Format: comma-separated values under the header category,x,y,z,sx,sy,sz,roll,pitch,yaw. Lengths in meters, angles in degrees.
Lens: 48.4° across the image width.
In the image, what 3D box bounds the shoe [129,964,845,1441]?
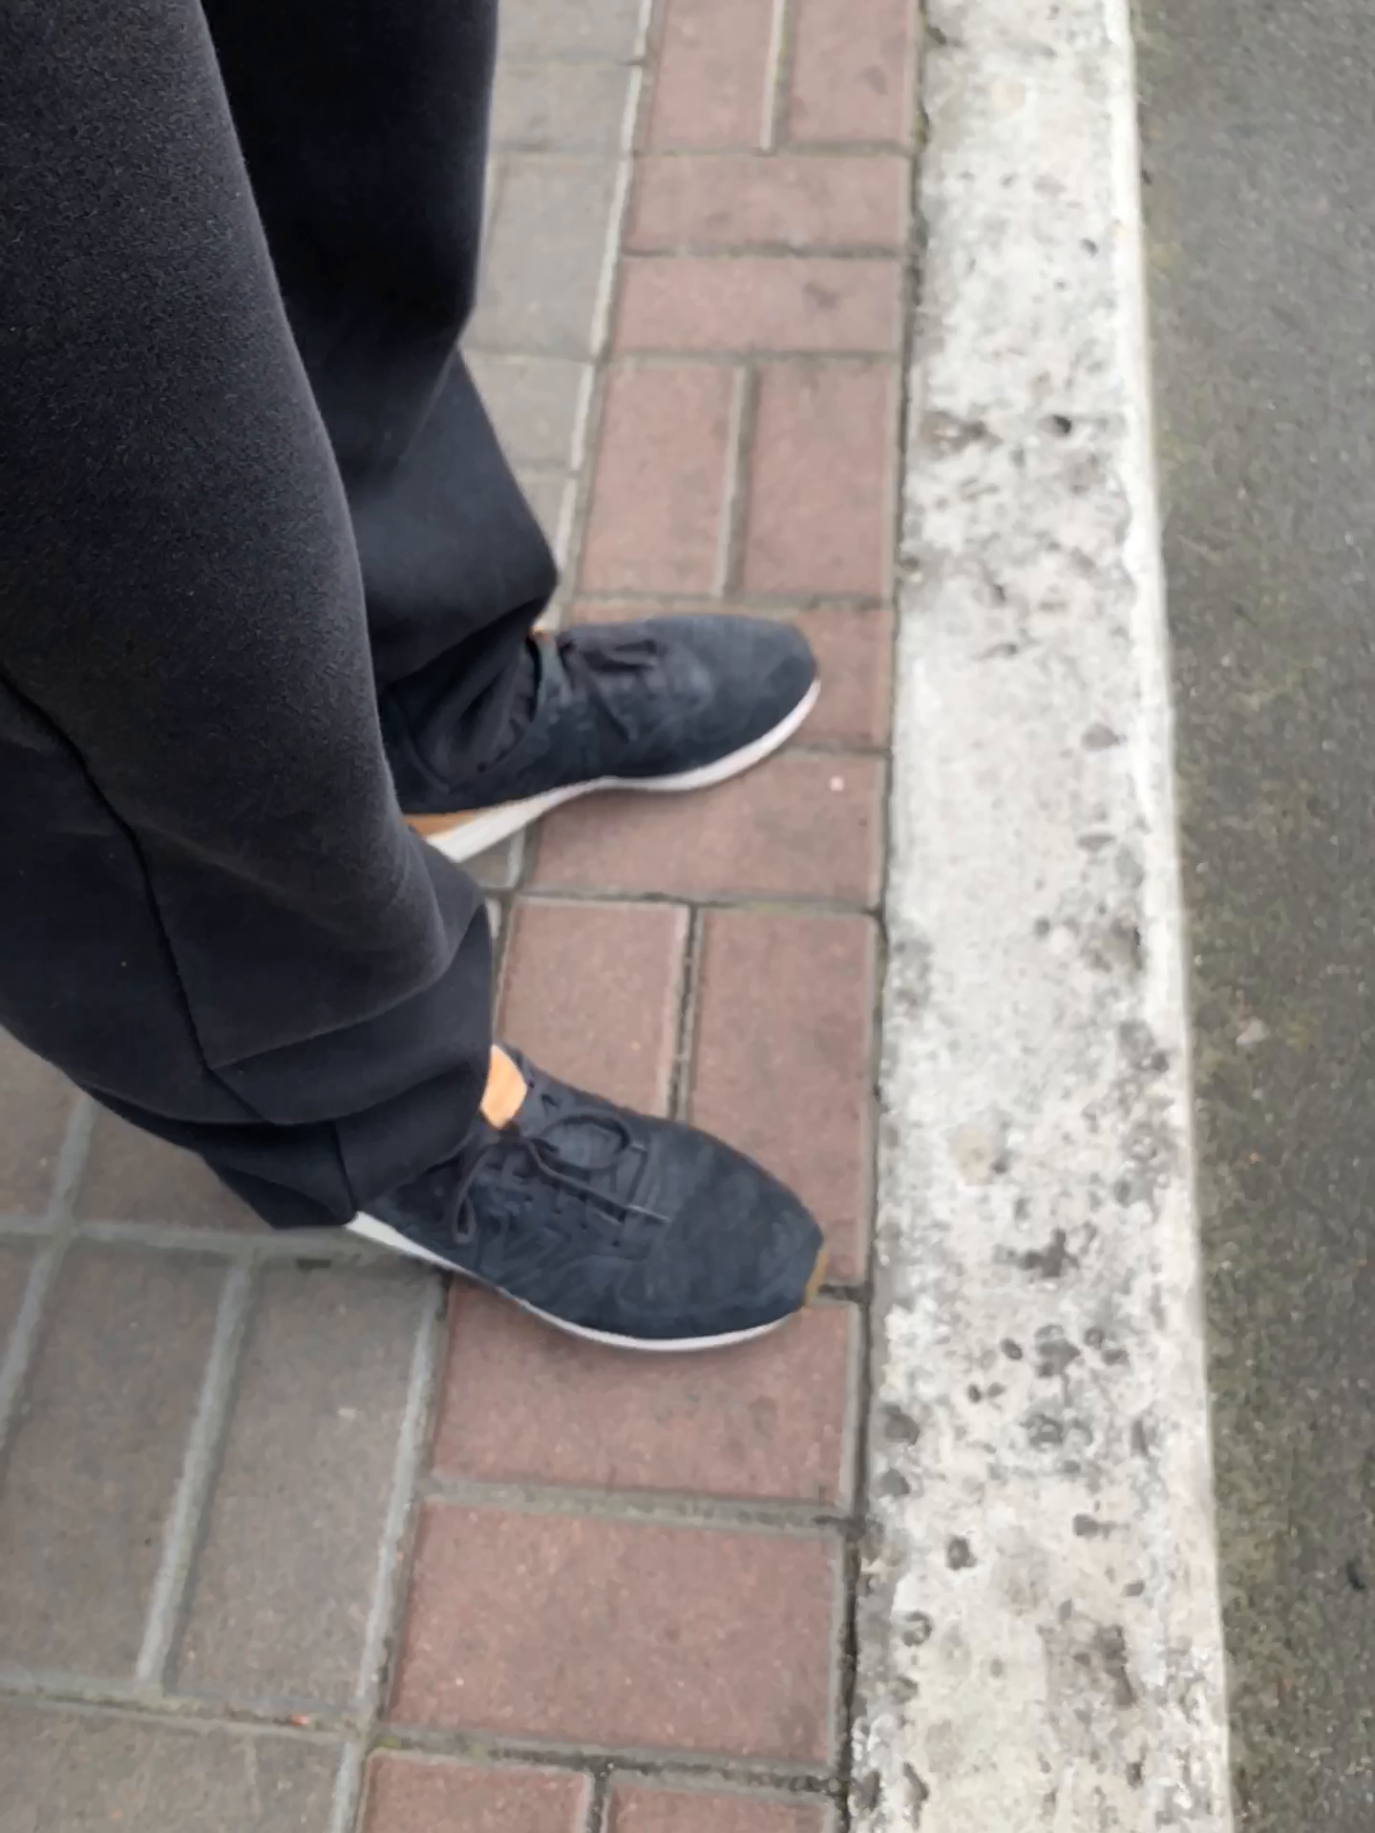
category,x,y,z,sx,sy,sz,roll,pitch,yaw
shoe,-0.080,0.126,0.678,0.280,0.110,0.105,15,66,13

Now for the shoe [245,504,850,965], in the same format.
category,x,y,z,sx,sy,sz,roll,pitch,yaw
shoe,-0.065,-0.093,0.795,0.280,0.110,0.105,-22,63,-5
